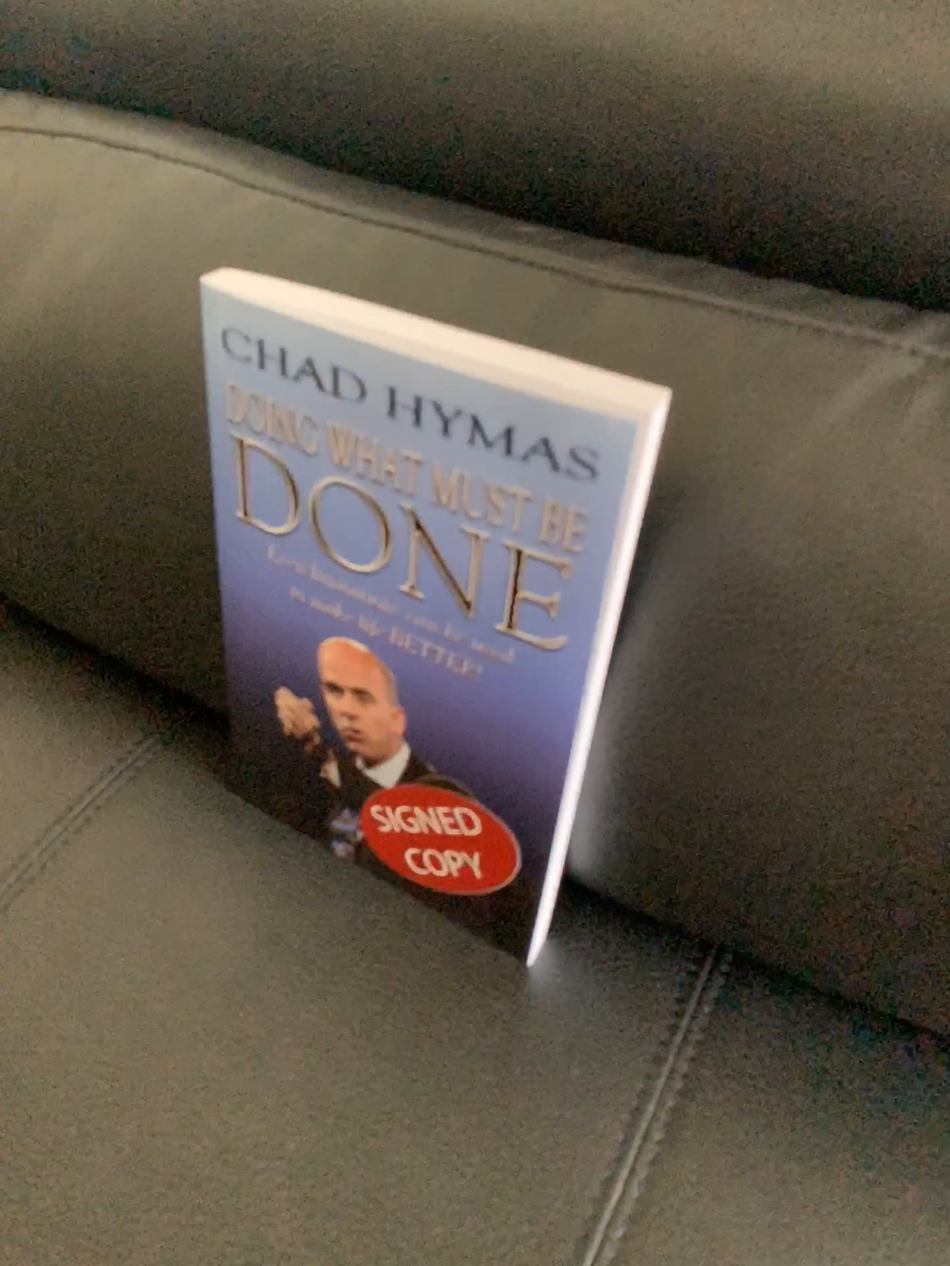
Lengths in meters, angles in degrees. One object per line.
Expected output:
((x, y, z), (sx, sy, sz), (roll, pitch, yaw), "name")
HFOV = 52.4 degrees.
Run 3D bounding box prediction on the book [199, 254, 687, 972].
((-0.029, 0.002, 0.345), (0.157, 0.224, 0.025), (25, 38, 23), "book")
